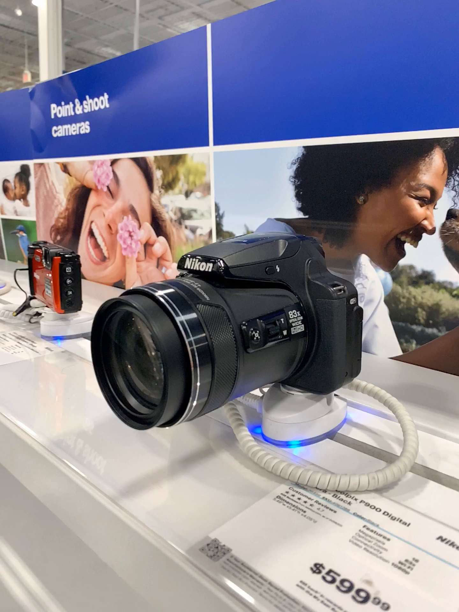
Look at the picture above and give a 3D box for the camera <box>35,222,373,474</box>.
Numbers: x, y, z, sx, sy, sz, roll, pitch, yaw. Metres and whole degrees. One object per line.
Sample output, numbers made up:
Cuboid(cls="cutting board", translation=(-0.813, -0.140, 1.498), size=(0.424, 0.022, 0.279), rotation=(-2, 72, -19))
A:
Cuboid(cls="camera", translation=(-0.015, 0.003, 0.300), size=(0.140, 0.100, 0.153), rotation=(14, 16, 41))
